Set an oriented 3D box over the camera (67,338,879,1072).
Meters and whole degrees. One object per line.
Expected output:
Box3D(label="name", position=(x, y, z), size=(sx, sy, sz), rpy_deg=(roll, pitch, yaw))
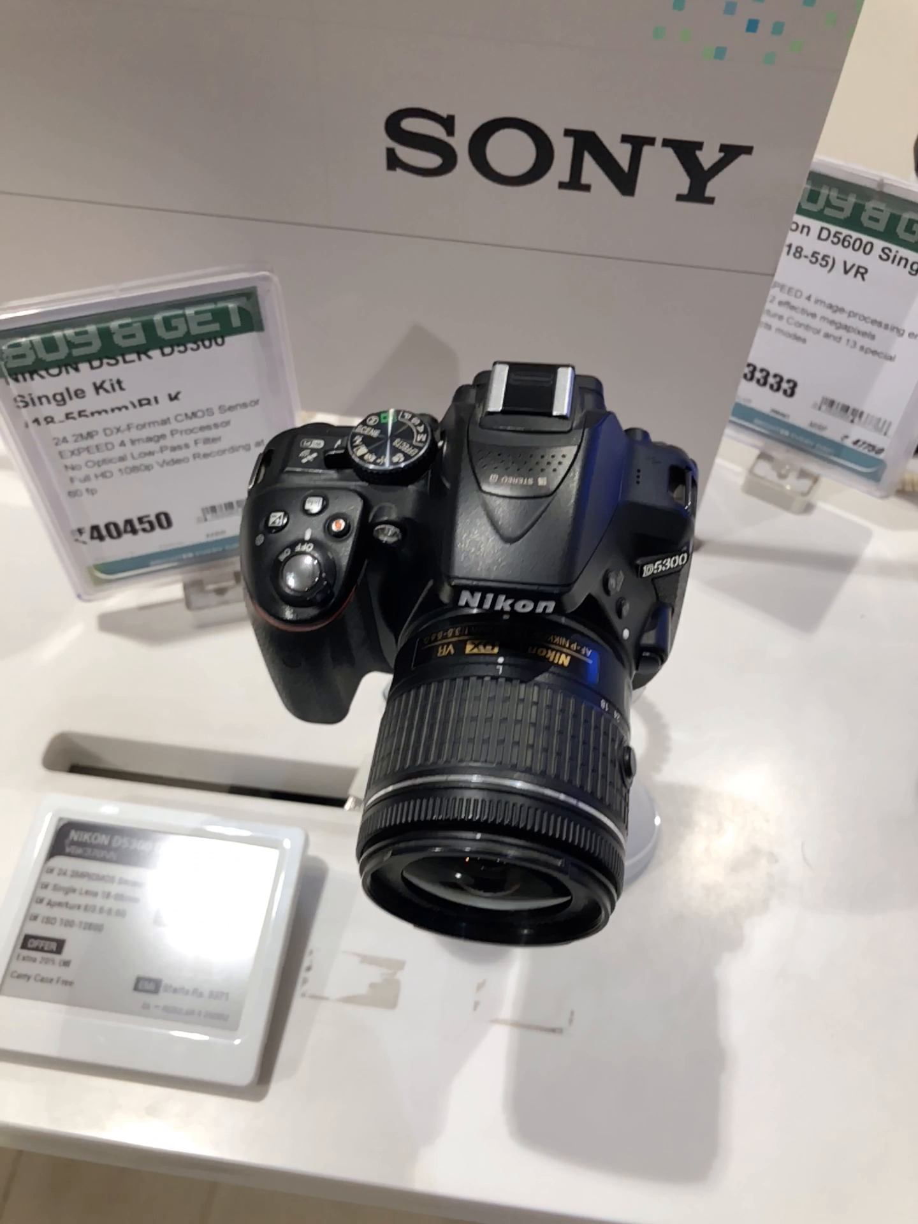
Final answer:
Box3D(label="camera", position=(0.007, 0.021, 0.259), size=(0.140, 0.100, 0.141), rpy_deg=(5, 51, 2))
